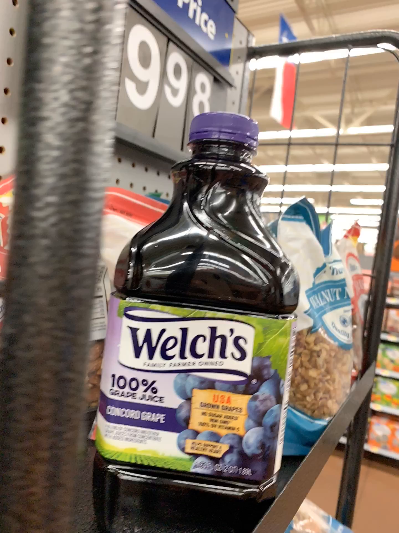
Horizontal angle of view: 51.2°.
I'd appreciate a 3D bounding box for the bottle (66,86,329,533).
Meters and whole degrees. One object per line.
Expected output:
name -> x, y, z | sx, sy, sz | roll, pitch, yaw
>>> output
bottle -> 0.001, 0.034, 0.279 | 0.120, 0.260, 0.100 | 6, 2, 6
